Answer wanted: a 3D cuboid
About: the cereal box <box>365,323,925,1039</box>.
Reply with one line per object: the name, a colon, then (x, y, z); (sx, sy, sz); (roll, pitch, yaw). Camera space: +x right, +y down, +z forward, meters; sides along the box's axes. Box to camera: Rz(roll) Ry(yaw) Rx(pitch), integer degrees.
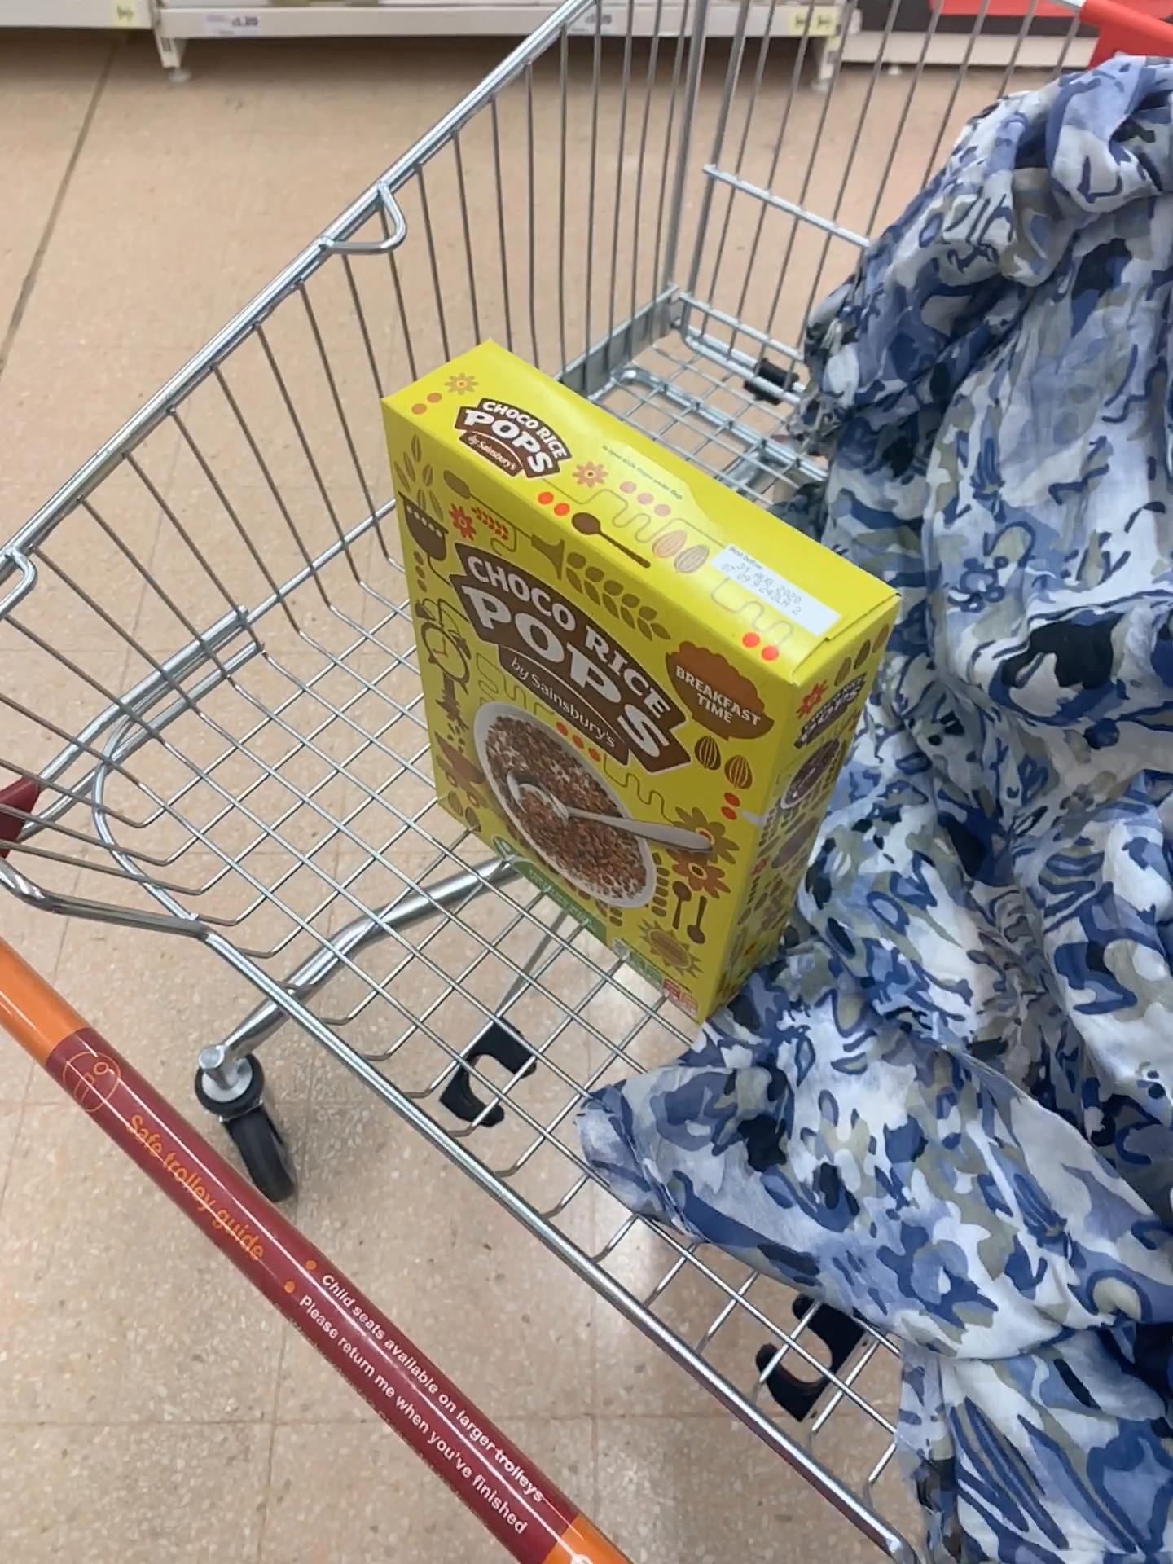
cereal box: (0.008, -0.025, 0.522); (0.201, 0.268, 0.060); (37, 61, 20)
